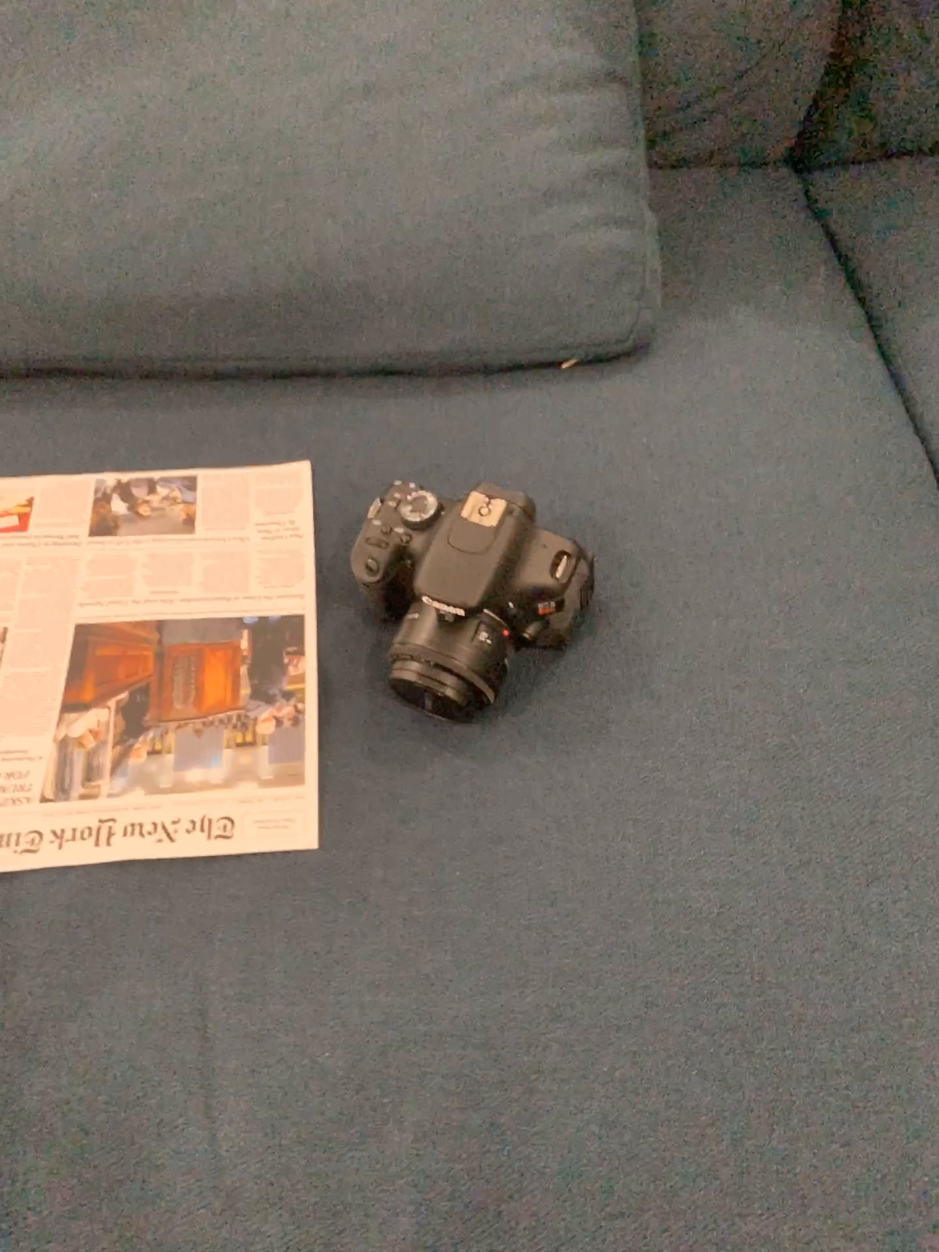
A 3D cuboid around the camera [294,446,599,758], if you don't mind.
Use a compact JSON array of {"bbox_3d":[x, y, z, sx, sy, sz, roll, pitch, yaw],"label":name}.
[{"bbox_3d":[-0.008,-0.017,0.561,0.127,0.090,0.122,18,56,17],"label":"camera"}]
